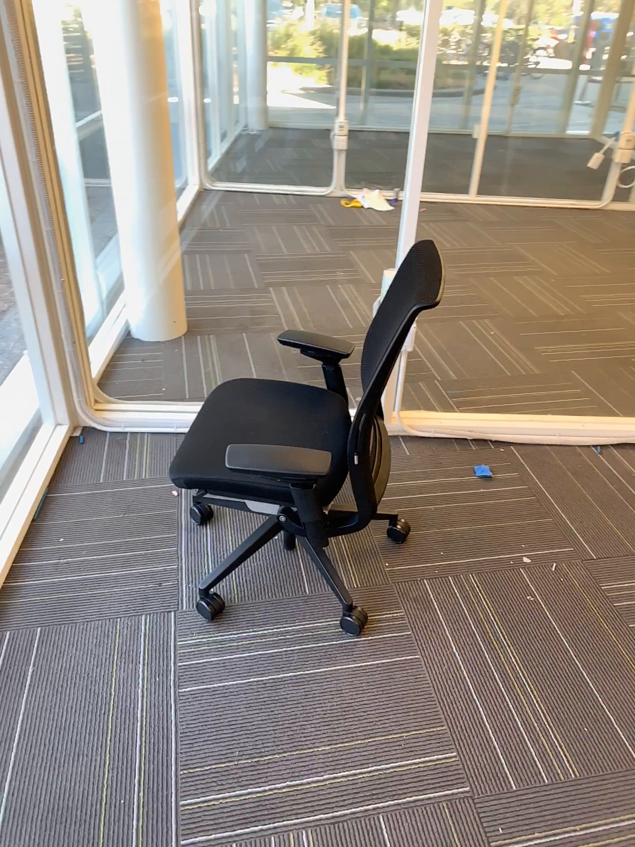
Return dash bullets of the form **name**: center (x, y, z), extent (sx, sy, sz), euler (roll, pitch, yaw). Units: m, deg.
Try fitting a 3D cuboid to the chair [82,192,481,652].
- **chair**: center (-0.047, -0.035, 1.701), extent (0.730, 0.894, 0.704), euler (6, 33, 5)
